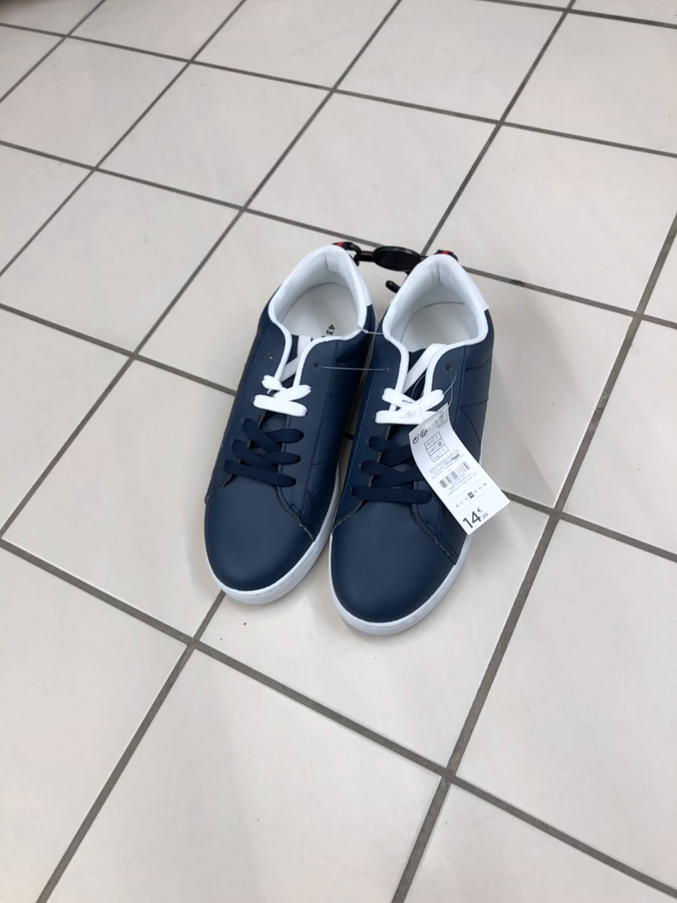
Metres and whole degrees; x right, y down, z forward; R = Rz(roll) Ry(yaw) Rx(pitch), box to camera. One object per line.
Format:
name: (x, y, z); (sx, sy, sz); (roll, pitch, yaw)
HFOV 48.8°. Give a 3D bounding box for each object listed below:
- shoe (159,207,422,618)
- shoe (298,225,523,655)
shoe: (-0.019, -0.040, 0.561); (0.100, 0.100, 0.291); (9, 62, 15)
shoe: (0.064, -0.019, 0.538); (0.100, 0.100, 0.291); (7, 61, 14)
